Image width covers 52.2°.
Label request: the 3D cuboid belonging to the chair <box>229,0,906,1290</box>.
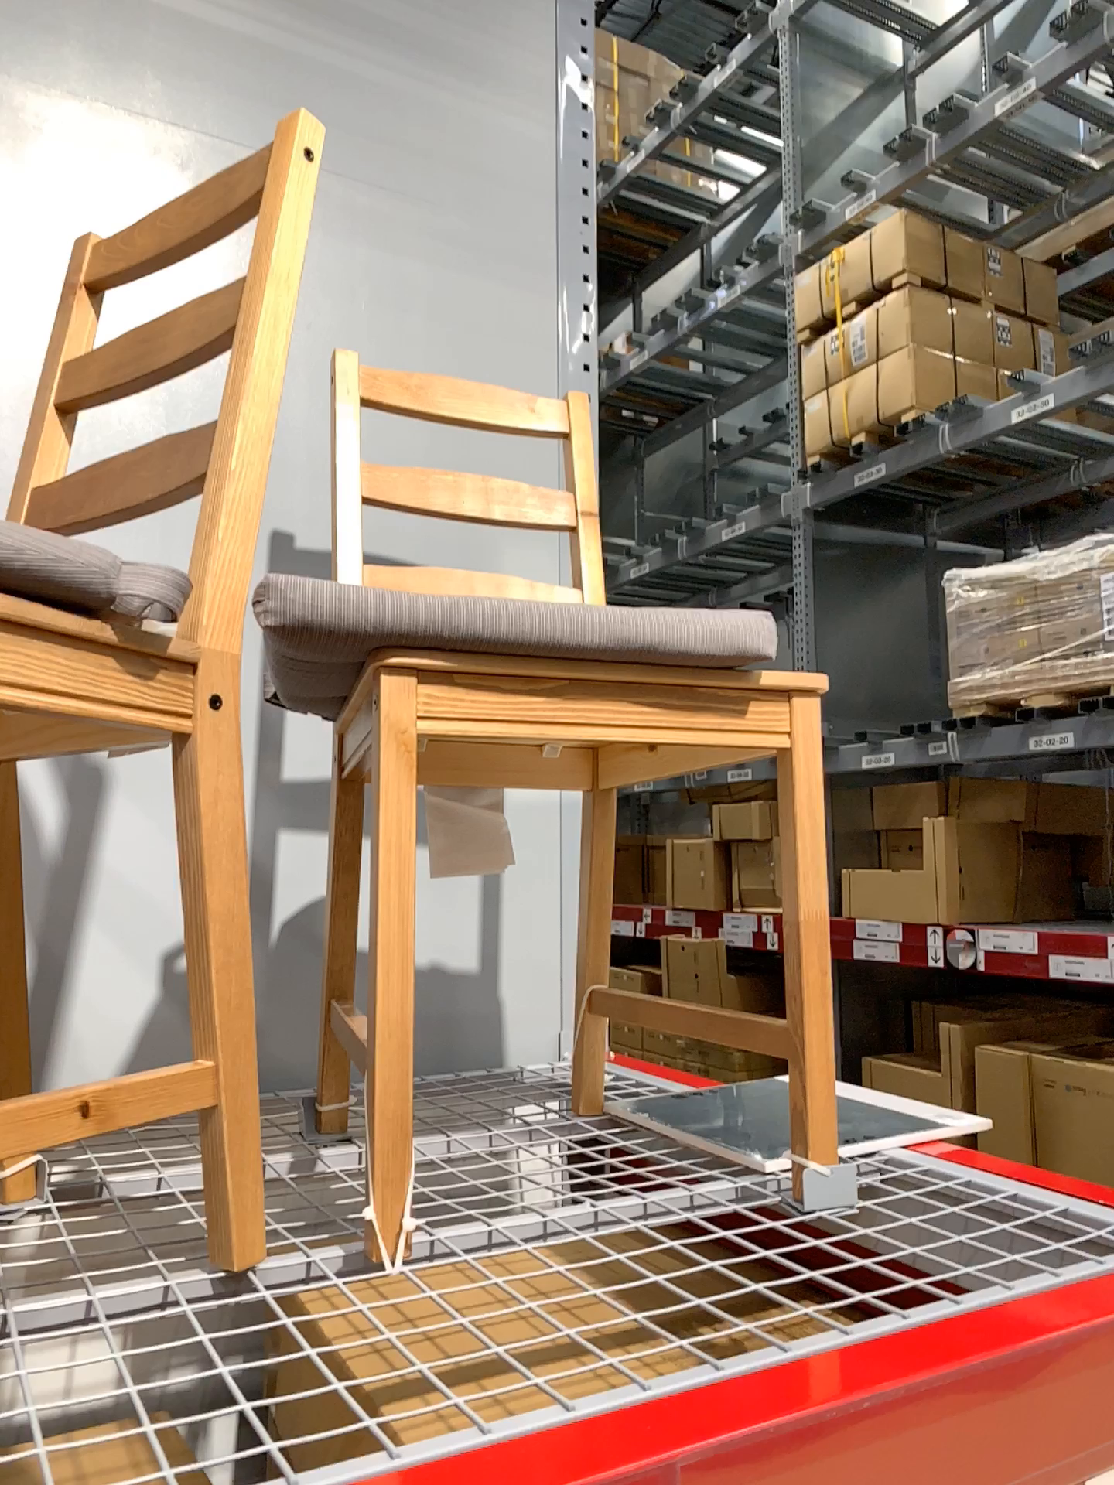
[{"bbox_3d":[-0.030,-0.074,1.090,0.440,0.912,0.500,3,-8,-25],"label":"chair"}]
